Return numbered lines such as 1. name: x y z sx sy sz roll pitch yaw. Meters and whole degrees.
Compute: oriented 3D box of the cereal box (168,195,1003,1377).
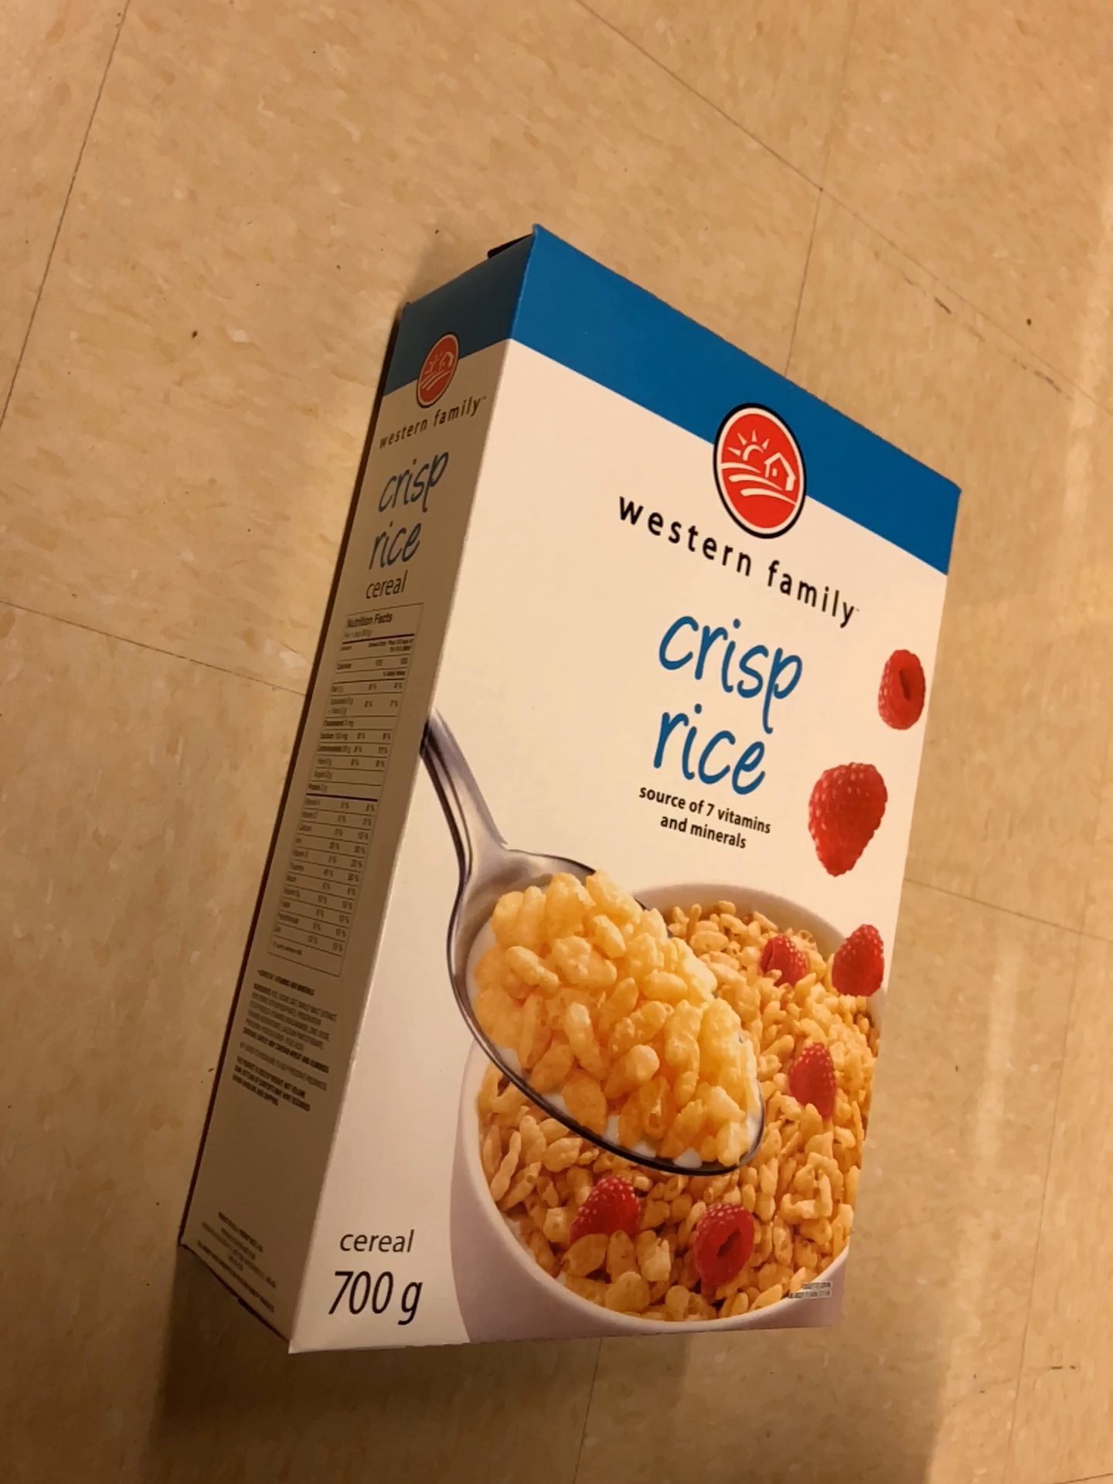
1. cereal box: 0.030 0.028 0.421 0.231 0.080 0.320 18 79 -35
